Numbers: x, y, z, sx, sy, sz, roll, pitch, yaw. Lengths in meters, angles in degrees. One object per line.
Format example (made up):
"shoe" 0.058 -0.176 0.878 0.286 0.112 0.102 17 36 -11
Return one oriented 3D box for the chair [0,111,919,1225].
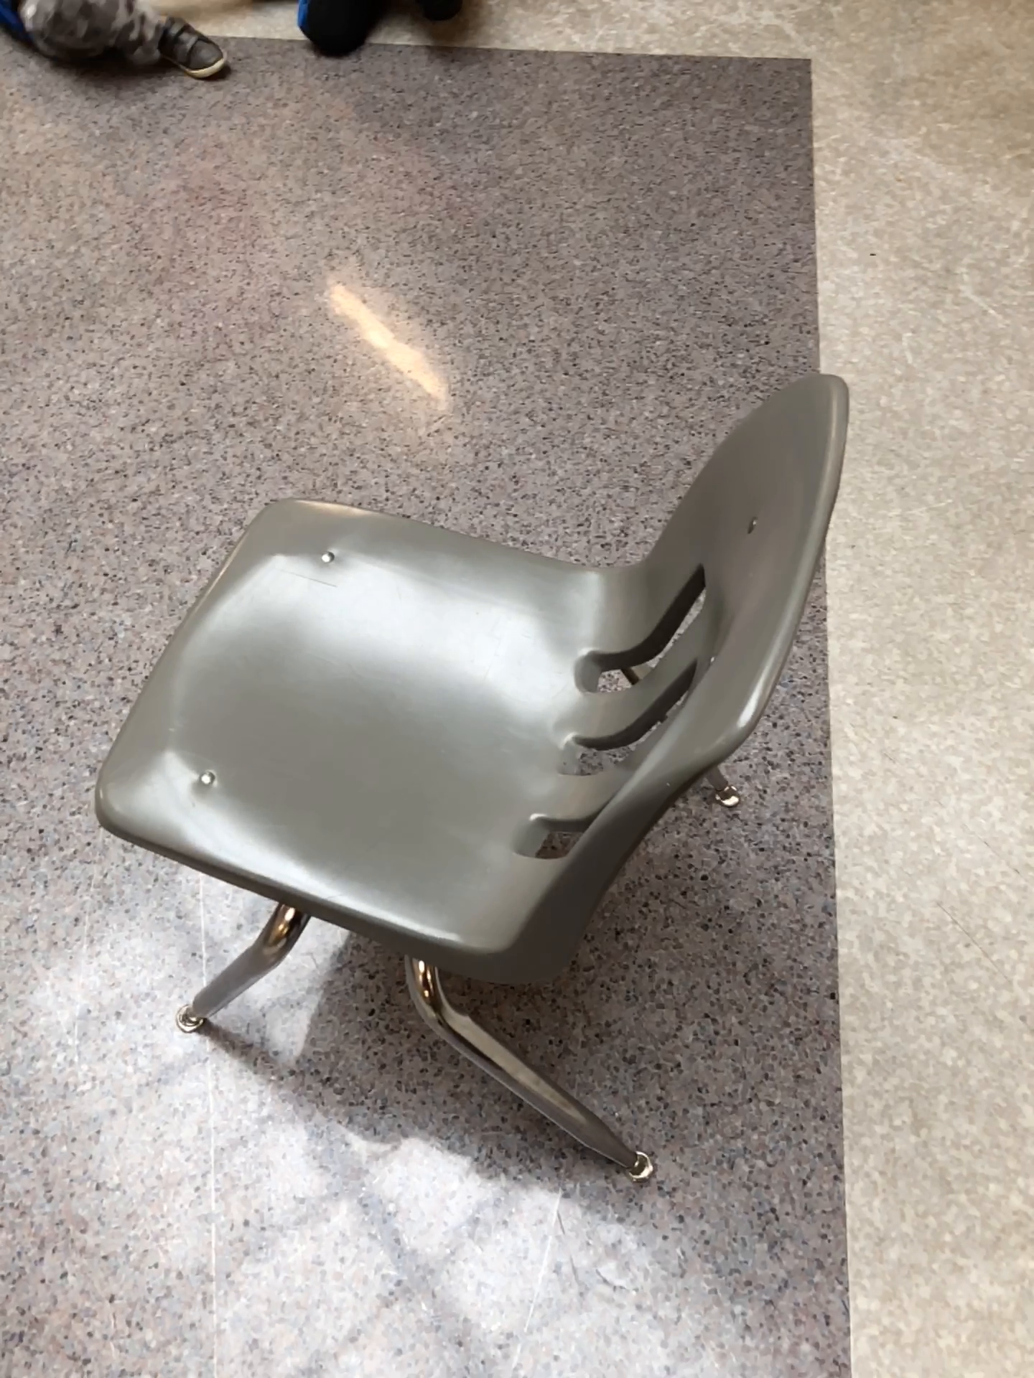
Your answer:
"chair" -0.073 0.028 0.921 0.551 0.667 0.512 14 58 11
